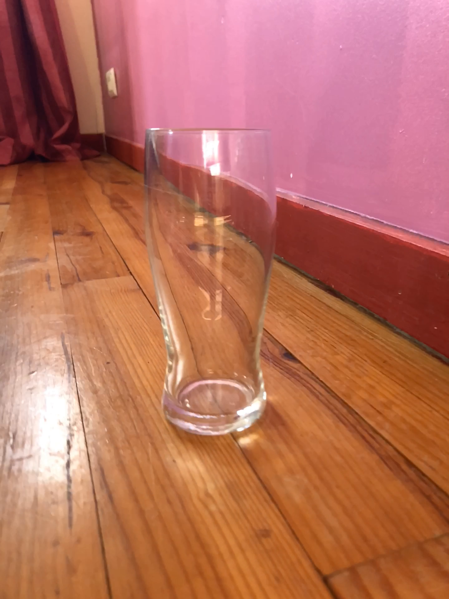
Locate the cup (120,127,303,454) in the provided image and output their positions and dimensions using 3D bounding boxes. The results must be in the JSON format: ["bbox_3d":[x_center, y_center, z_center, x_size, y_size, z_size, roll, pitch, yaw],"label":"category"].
[{"bbox_3d":[-0.006,-0.010,0.250,0.061,0.143,0.064,-1,18,0],"label":"cup"}]
